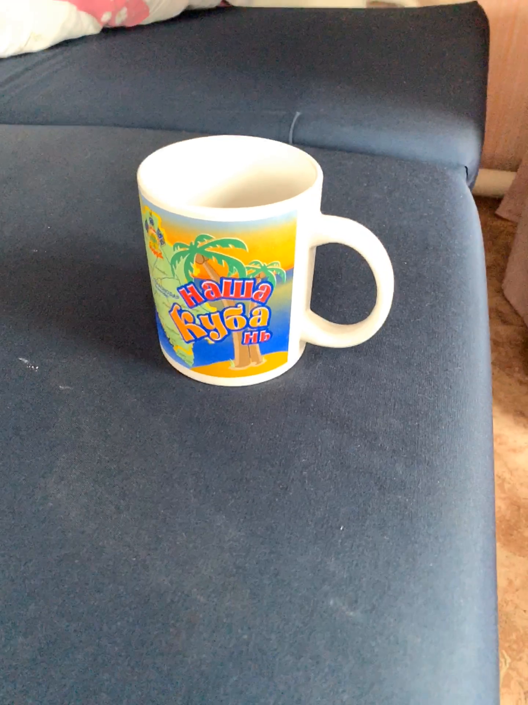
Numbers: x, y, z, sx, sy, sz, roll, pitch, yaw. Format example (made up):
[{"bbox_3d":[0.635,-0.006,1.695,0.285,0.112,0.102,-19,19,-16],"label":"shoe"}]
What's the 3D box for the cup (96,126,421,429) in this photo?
[{"bbox_3d":[0.003,-0.042,0.273,0.120,0.099,0.091,12,41,16],"label":"cup"}]
